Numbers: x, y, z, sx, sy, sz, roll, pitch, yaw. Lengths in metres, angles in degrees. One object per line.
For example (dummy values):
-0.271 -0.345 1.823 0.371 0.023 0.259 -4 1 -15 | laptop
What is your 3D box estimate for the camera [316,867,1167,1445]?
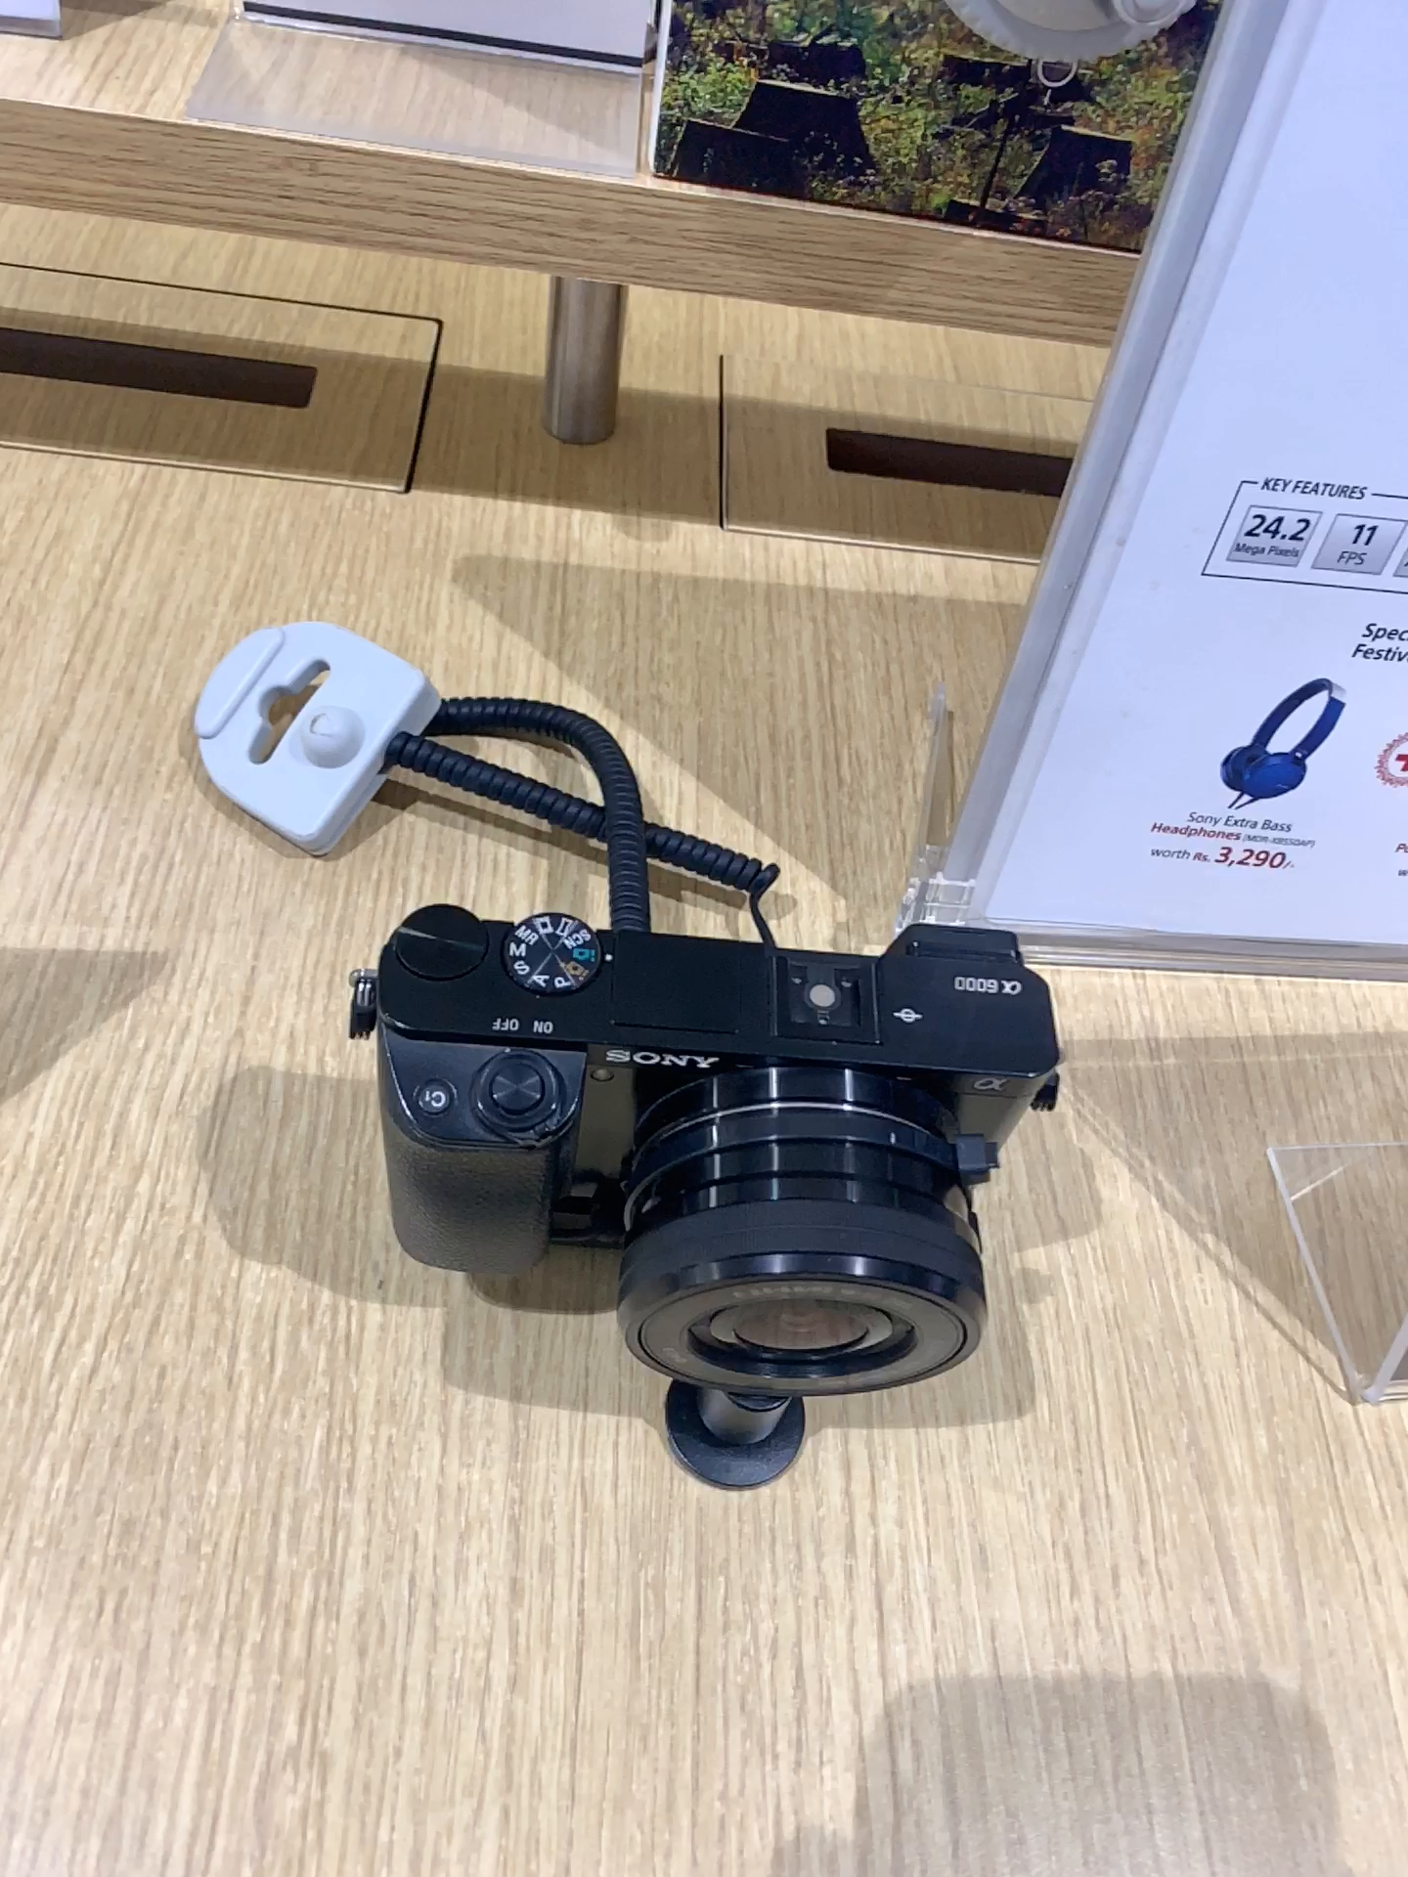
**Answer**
0.001 0.046 0.275 0.130 0.090 0.070 3 54 -7 | camera
